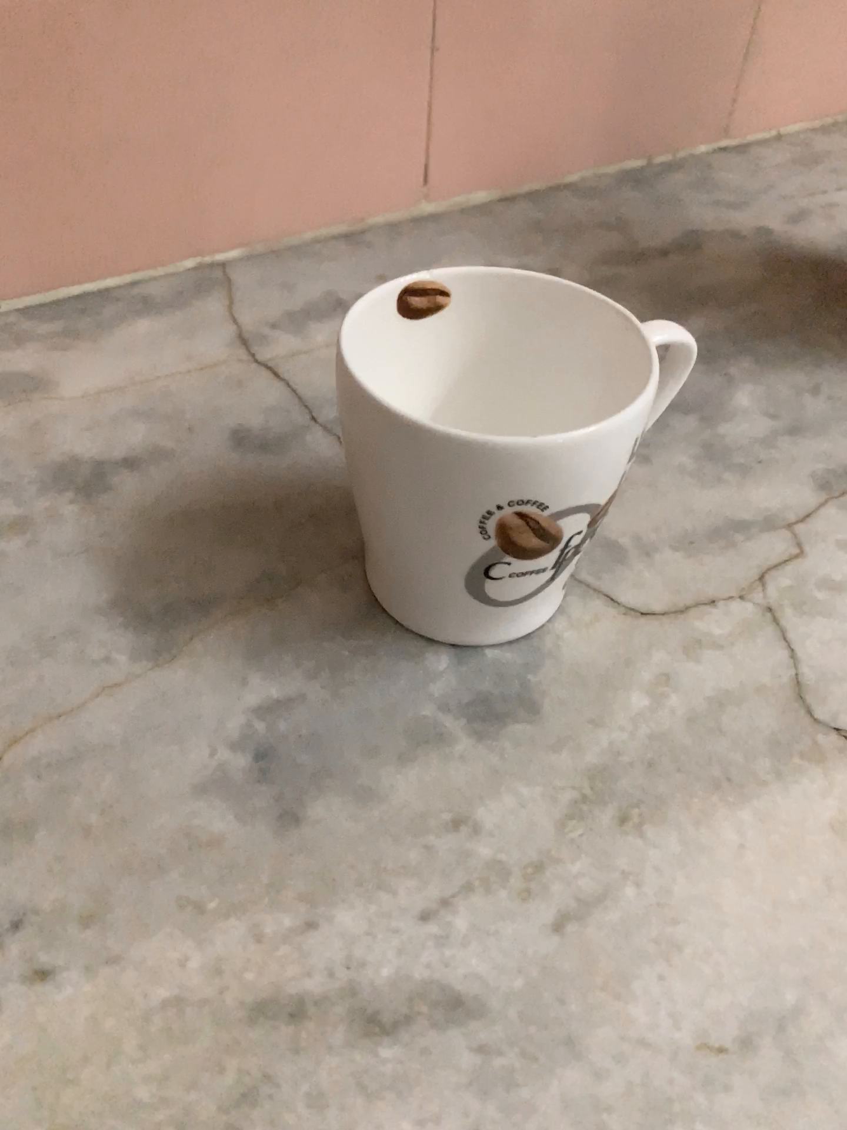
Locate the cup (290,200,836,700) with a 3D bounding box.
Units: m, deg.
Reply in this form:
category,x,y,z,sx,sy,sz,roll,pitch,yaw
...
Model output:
category,x,y,z,sx,sy,sz,roll,pitch,yaw
cup,0.030,-0.034,0.220,0.100,0.070,0.070,-25,52,-26
